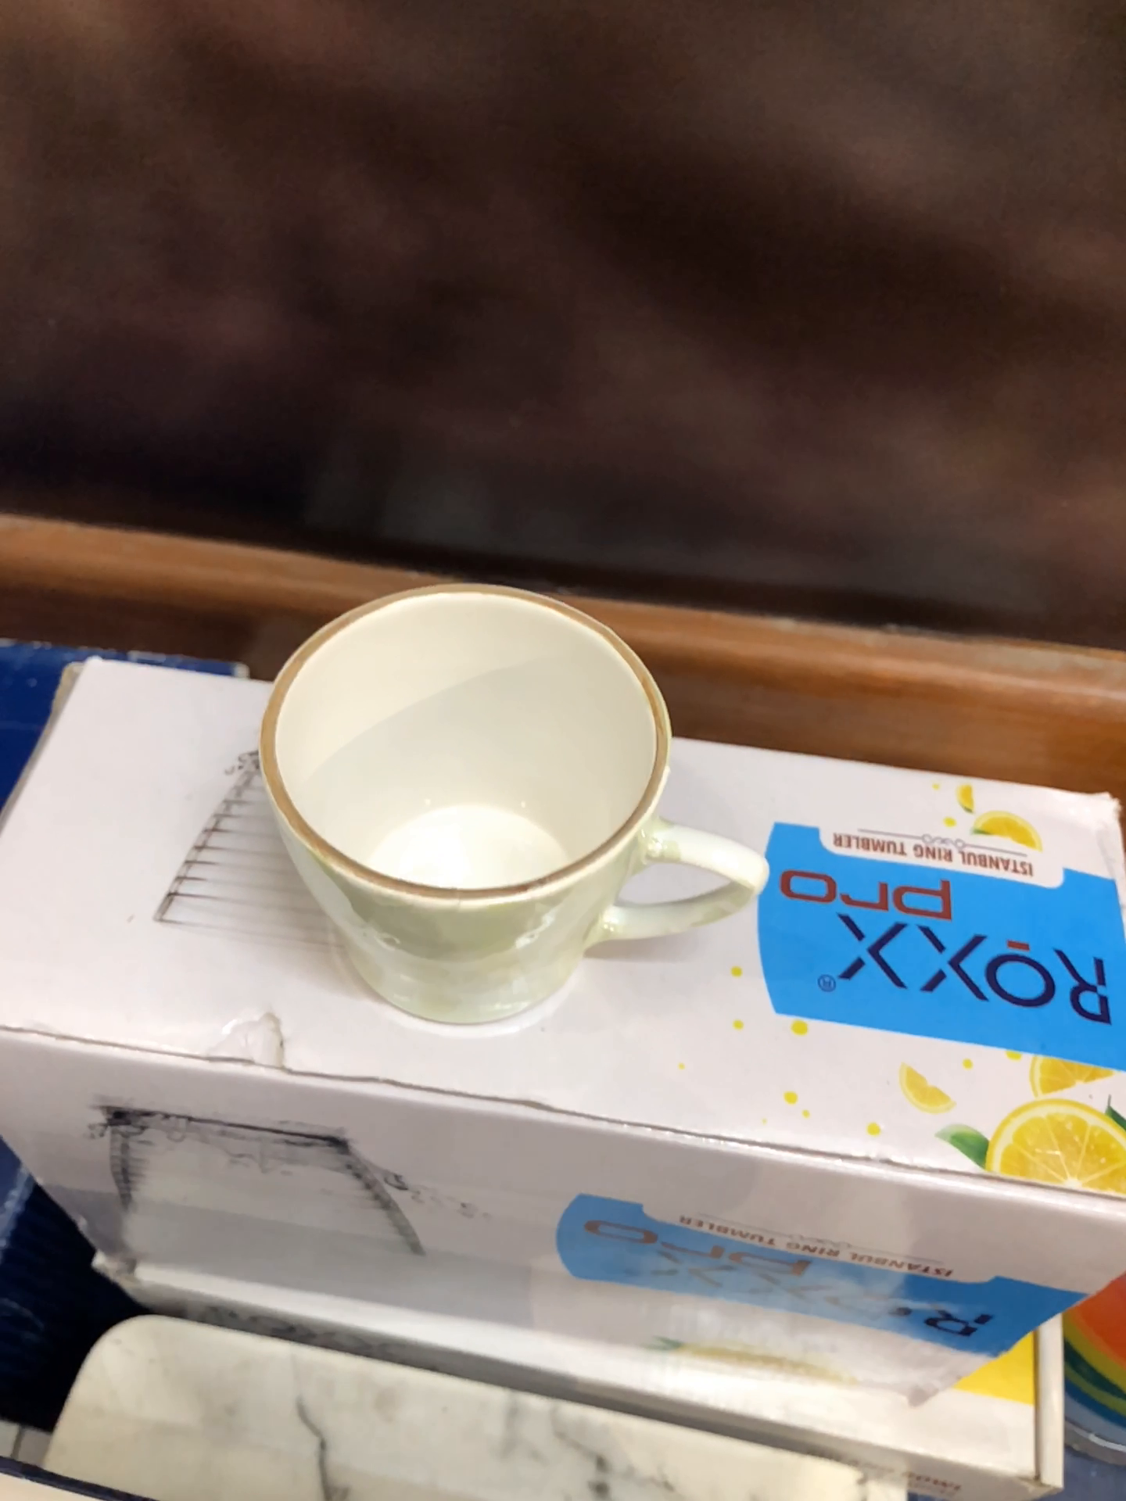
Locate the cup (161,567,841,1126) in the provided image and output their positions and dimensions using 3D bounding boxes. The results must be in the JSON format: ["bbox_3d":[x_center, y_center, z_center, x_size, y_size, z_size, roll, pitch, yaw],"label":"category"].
[{"bbox_3d":[-0.007,0.018,0.229,0.100,0.060,0.070,6,54,1],"label":"cup"}]
